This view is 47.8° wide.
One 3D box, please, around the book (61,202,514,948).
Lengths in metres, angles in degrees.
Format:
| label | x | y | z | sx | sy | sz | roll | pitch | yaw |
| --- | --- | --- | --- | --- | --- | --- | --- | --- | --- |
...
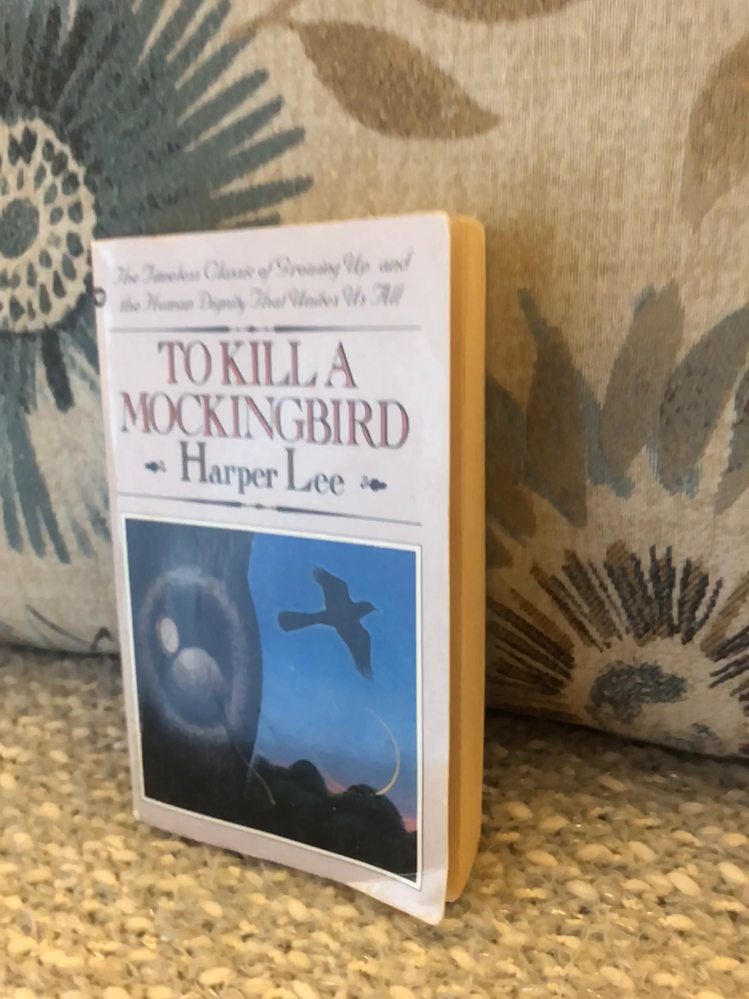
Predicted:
| label | x | y | z | sx | sy | sz | roll | pitch | yaw |
| --- | --- | --- | --- | --- | --- | --- | --- | --- | --- |
| book | -0.024 | 0.015 | 0.222 | 0.112 | 0.166 | 0.033 | 5 | 12 | 28 |
